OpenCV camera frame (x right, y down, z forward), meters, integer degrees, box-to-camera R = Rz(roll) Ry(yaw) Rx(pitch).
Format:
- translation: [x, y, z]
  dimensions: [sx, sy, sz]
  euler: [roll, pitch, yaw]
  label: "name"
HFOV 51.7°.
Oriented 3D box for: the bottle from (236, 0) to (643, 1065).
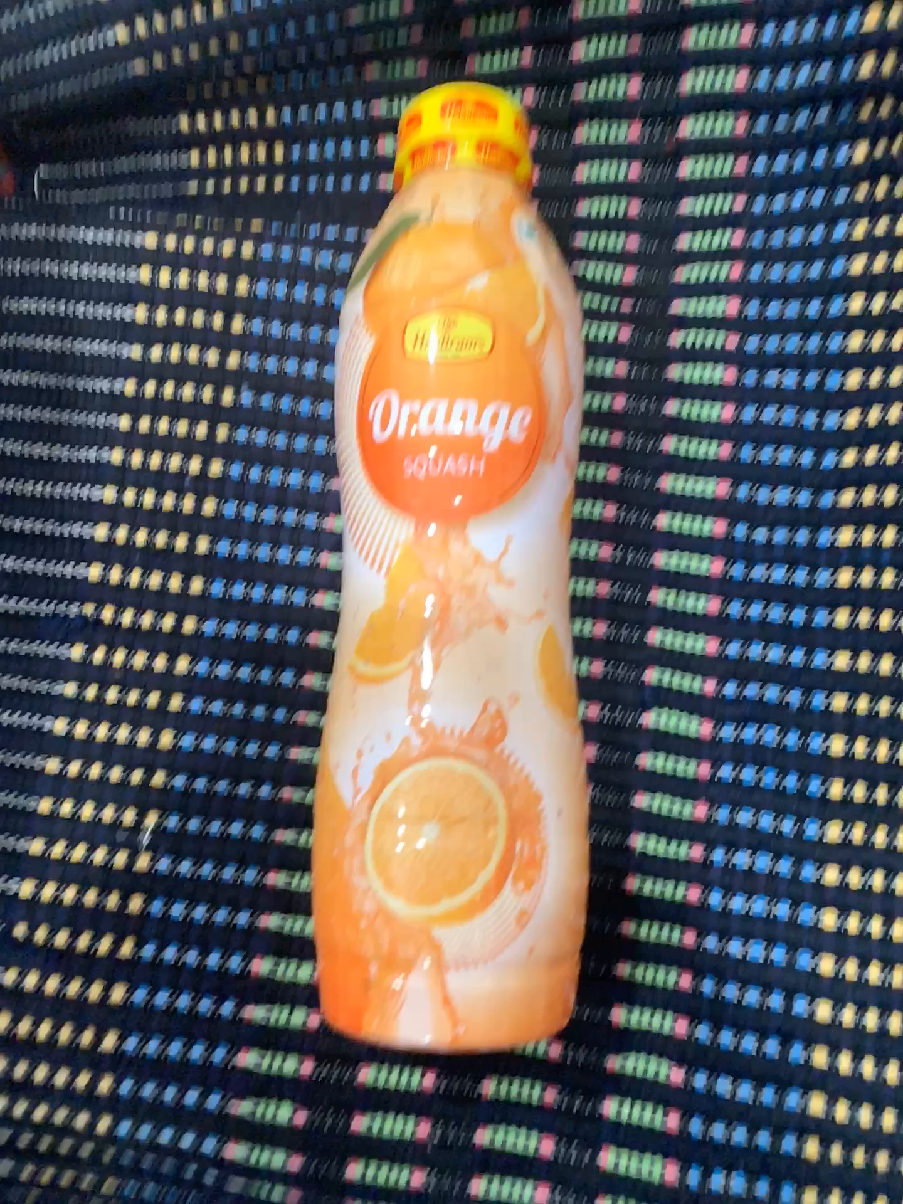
- translation: [0.004, -0.028, 0.237]
  dimensions: [0.080, 0.060, 0.250]
  euler: [1, 78, 5]
  label: "bottle"
